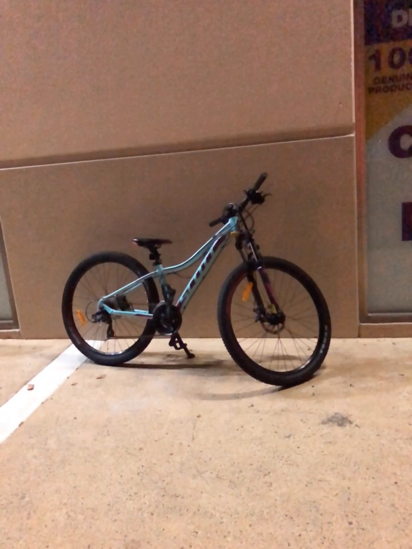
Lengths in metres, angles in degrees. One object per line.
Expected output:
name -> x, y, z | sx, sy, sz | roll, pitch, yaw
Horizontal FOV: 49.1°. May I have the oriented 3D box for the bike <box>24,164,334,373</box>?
bike -> -0.098, -0.034, 2.724 | 1.602, 1.064, 0.589 | -2, 12, 14
